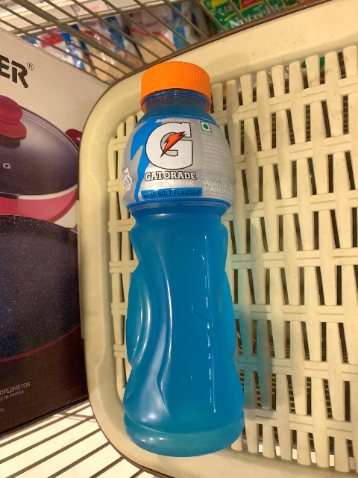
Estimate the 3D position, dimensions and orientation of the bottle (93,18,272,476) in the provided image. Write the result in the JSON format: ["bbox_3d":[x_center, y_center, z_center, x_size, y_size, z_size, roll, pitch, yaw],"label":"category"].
[{"bbox_3d":[0.005,0.004,0.208,0.080,0.060,0.210,-3,88,13],"label":"bottle"}]
